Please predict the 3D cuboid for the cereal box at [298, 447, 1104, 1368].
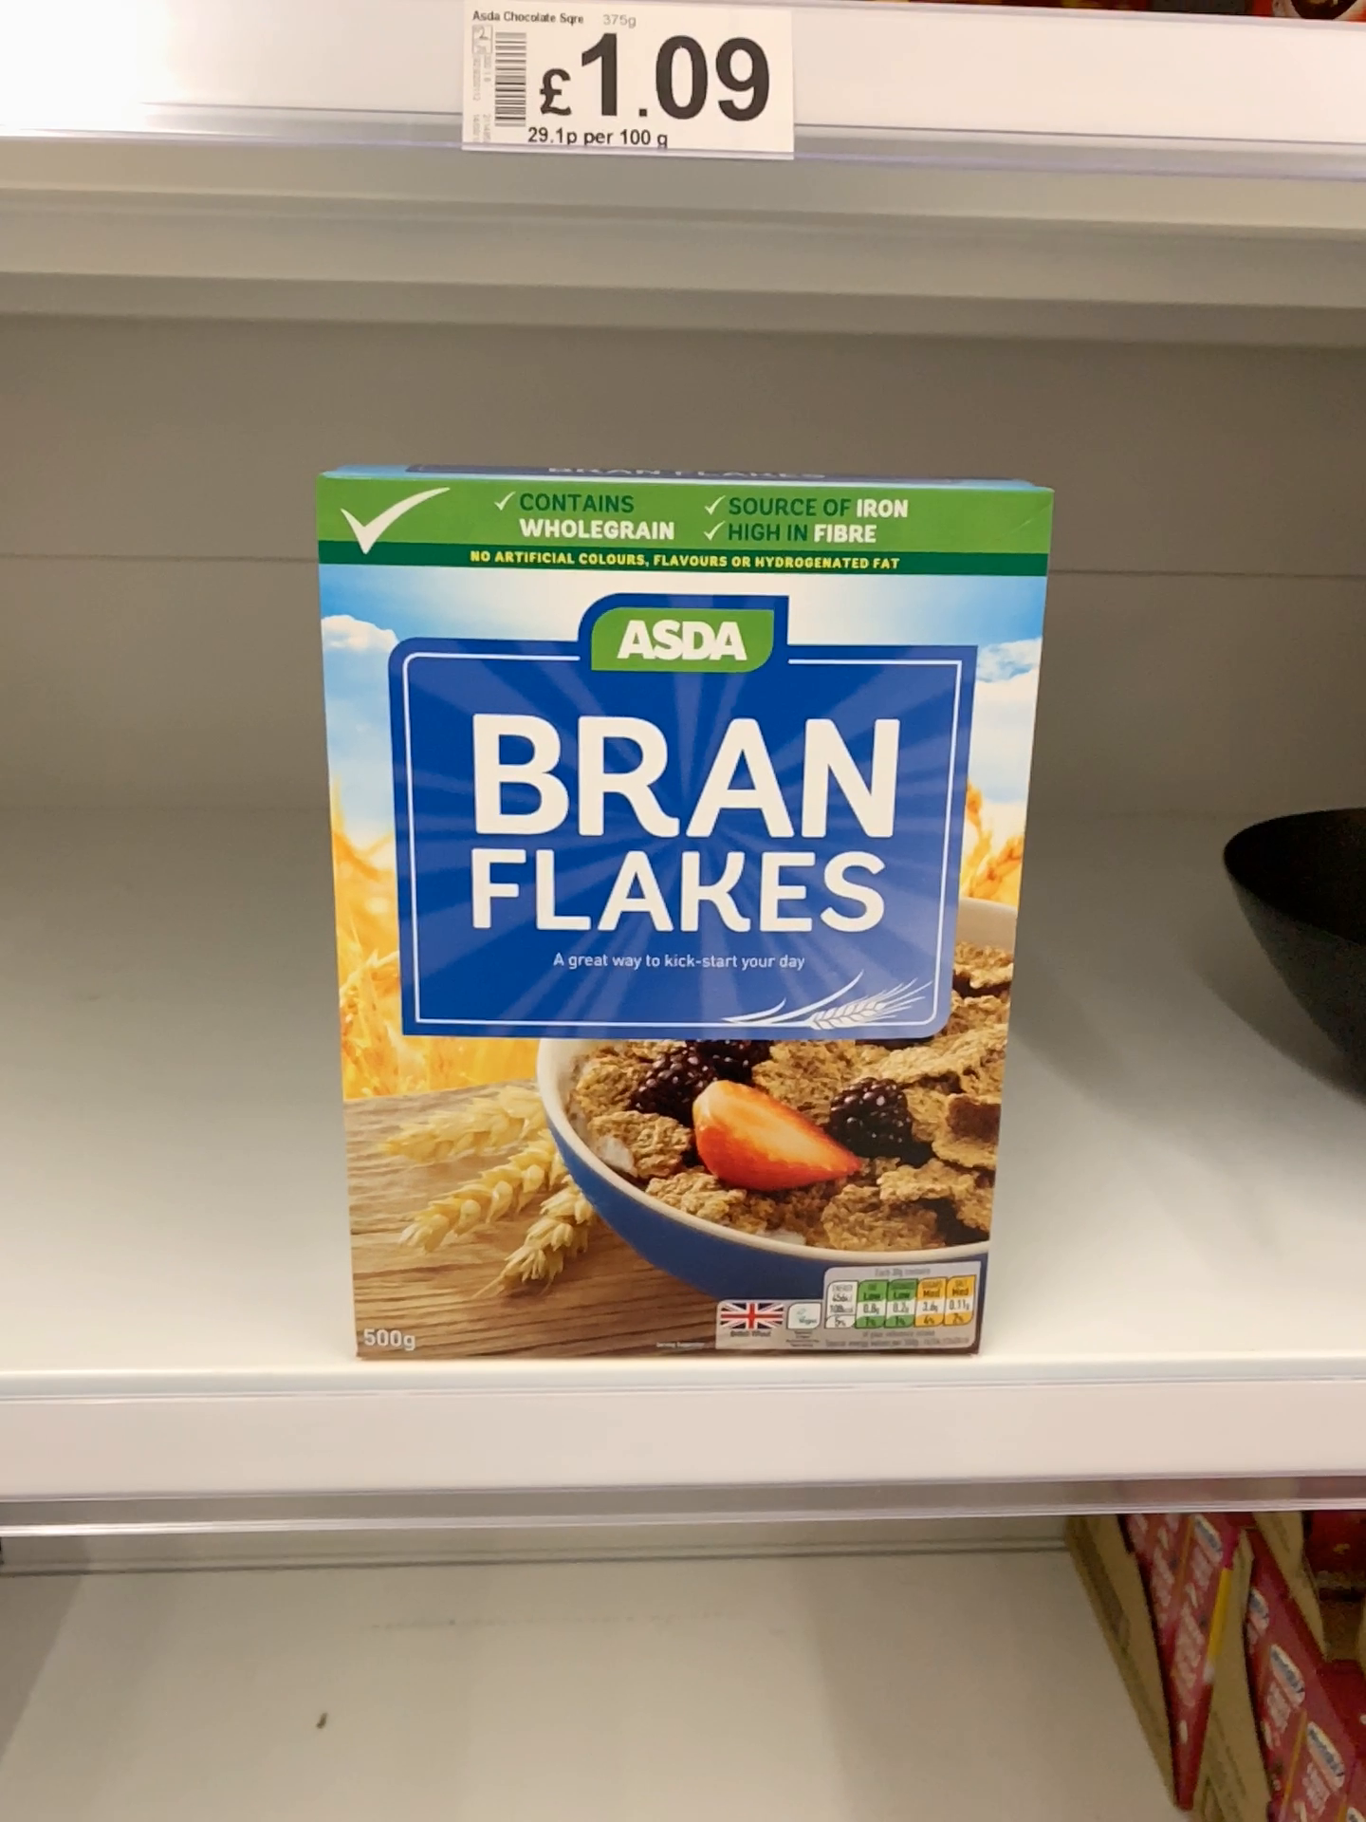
[{"bbox_3d":[0.002,0.000,0.458,0.220,0.278,0.080,0,14,-3],"label":"cereal box"}]
